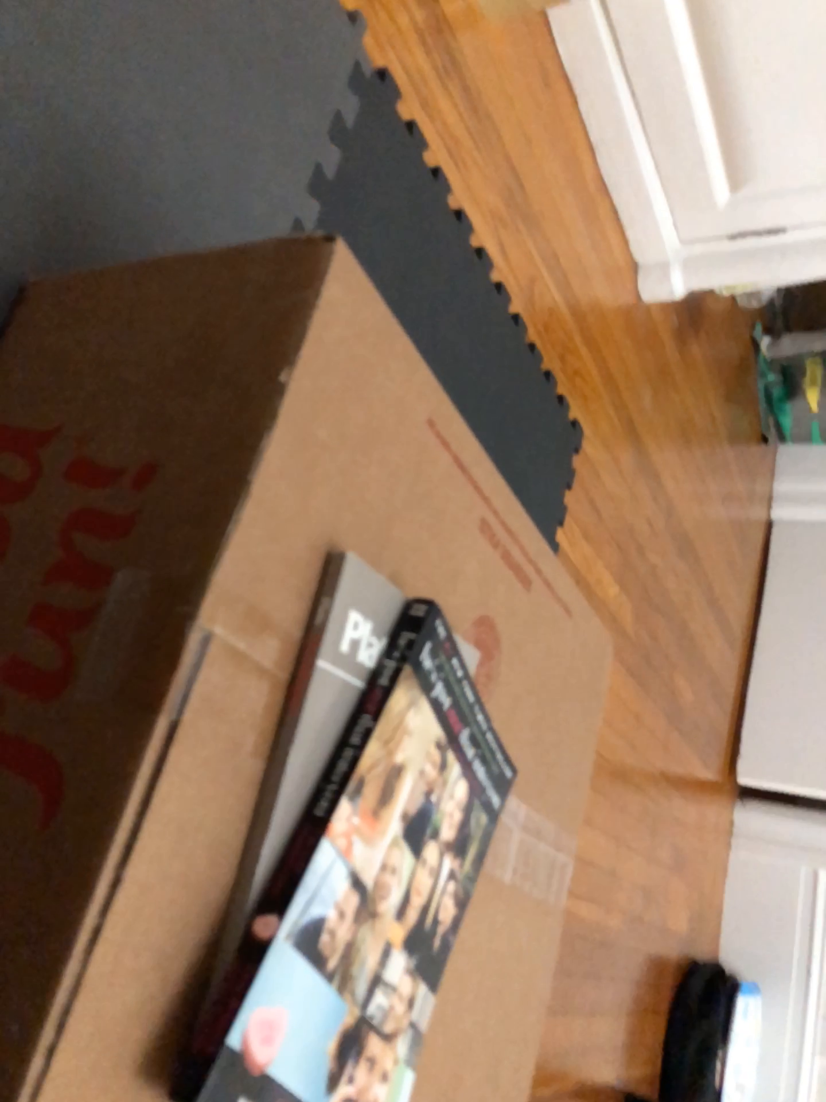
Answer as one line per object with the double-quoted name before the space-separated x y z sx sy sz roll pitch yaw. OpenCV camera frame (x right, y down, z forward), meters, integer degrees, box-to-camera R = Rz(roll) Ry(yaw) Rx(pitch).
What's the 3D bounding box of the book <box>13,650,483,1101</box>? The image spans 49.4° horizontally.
"book" -0.036 0.177 0.359 0.231 0.010 0.150 -62 142 -36
